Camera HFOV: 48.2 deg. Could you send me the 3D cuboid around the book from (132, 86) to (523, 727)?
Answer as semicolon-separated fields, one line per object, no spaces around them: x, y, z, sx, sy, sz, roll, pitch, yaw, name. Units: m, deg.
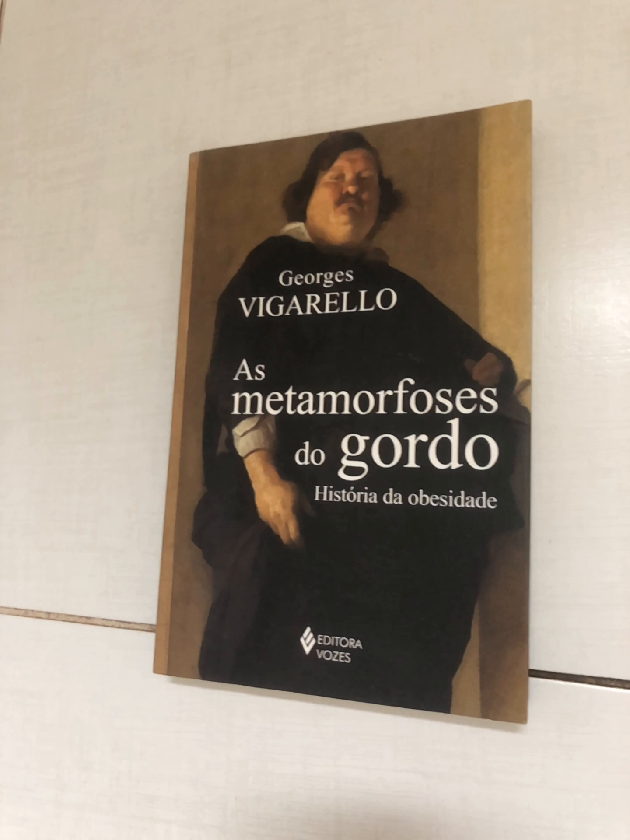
0.004;-0.008;0.257;0.137;0.023;0.204;-1;83;21;book
